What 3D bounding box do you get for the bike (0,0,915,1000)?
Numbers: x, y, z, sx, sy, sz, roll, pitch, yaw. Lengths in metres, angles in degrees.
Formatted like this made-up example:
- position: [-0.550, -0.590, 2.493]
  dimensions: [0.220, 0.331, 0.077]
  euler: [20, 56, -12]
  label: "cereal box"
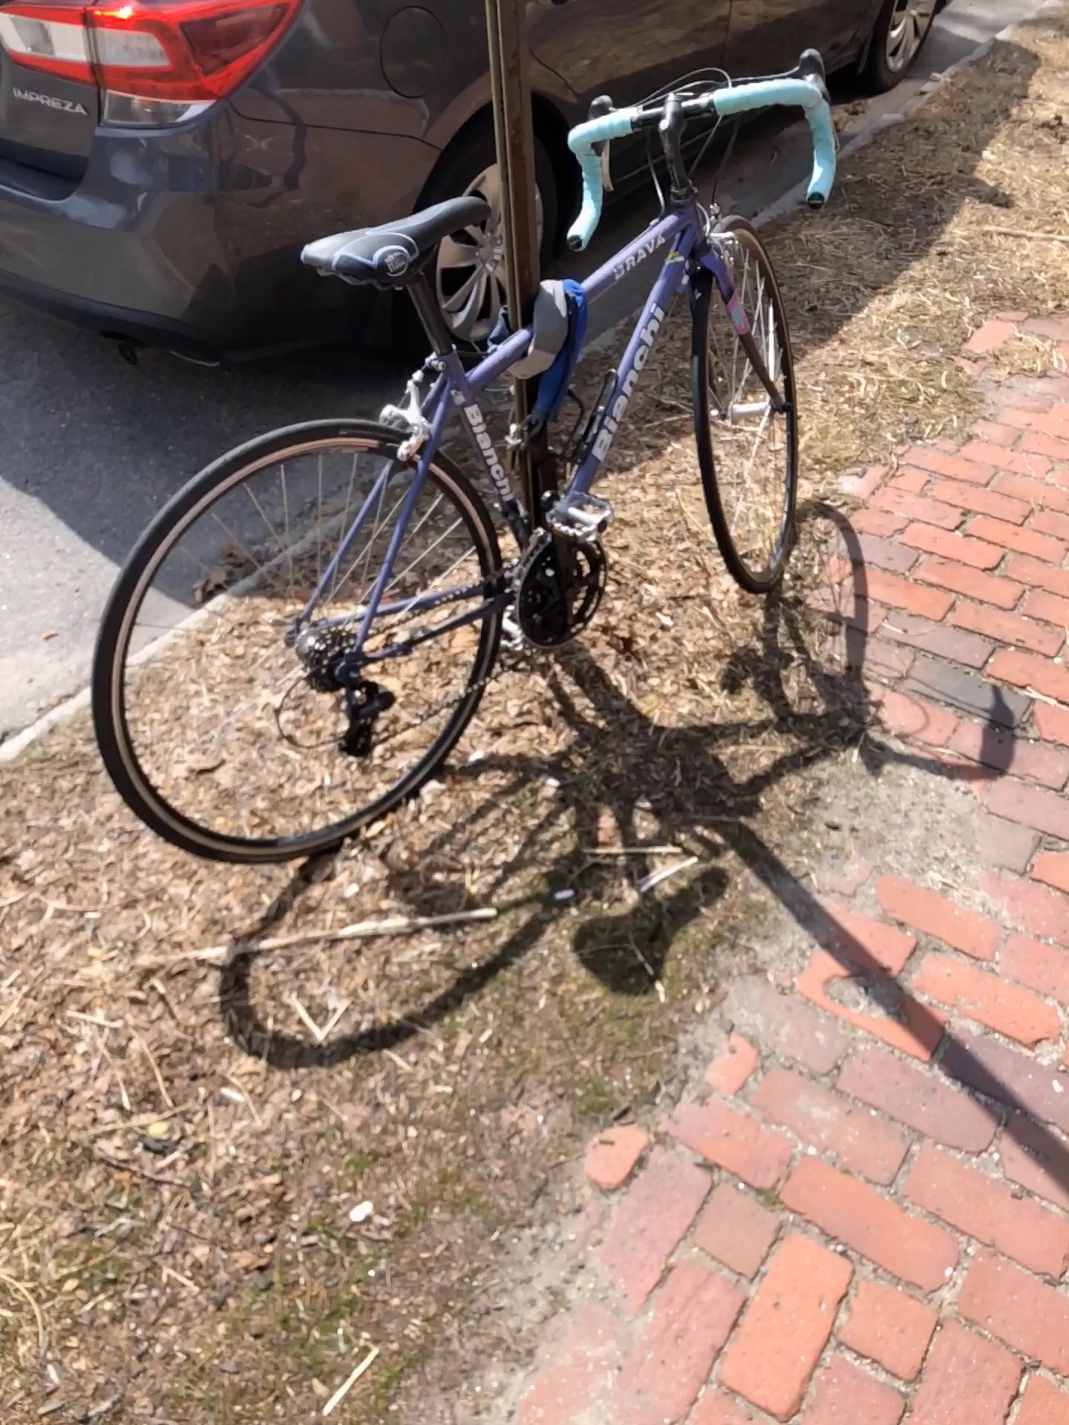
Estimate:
- position: [-0.066, -0.442, 1.785]
  dimensions: [0.460, 0.735, 1.454]
  euler: [30, 57, 32]
  label: "bike"
